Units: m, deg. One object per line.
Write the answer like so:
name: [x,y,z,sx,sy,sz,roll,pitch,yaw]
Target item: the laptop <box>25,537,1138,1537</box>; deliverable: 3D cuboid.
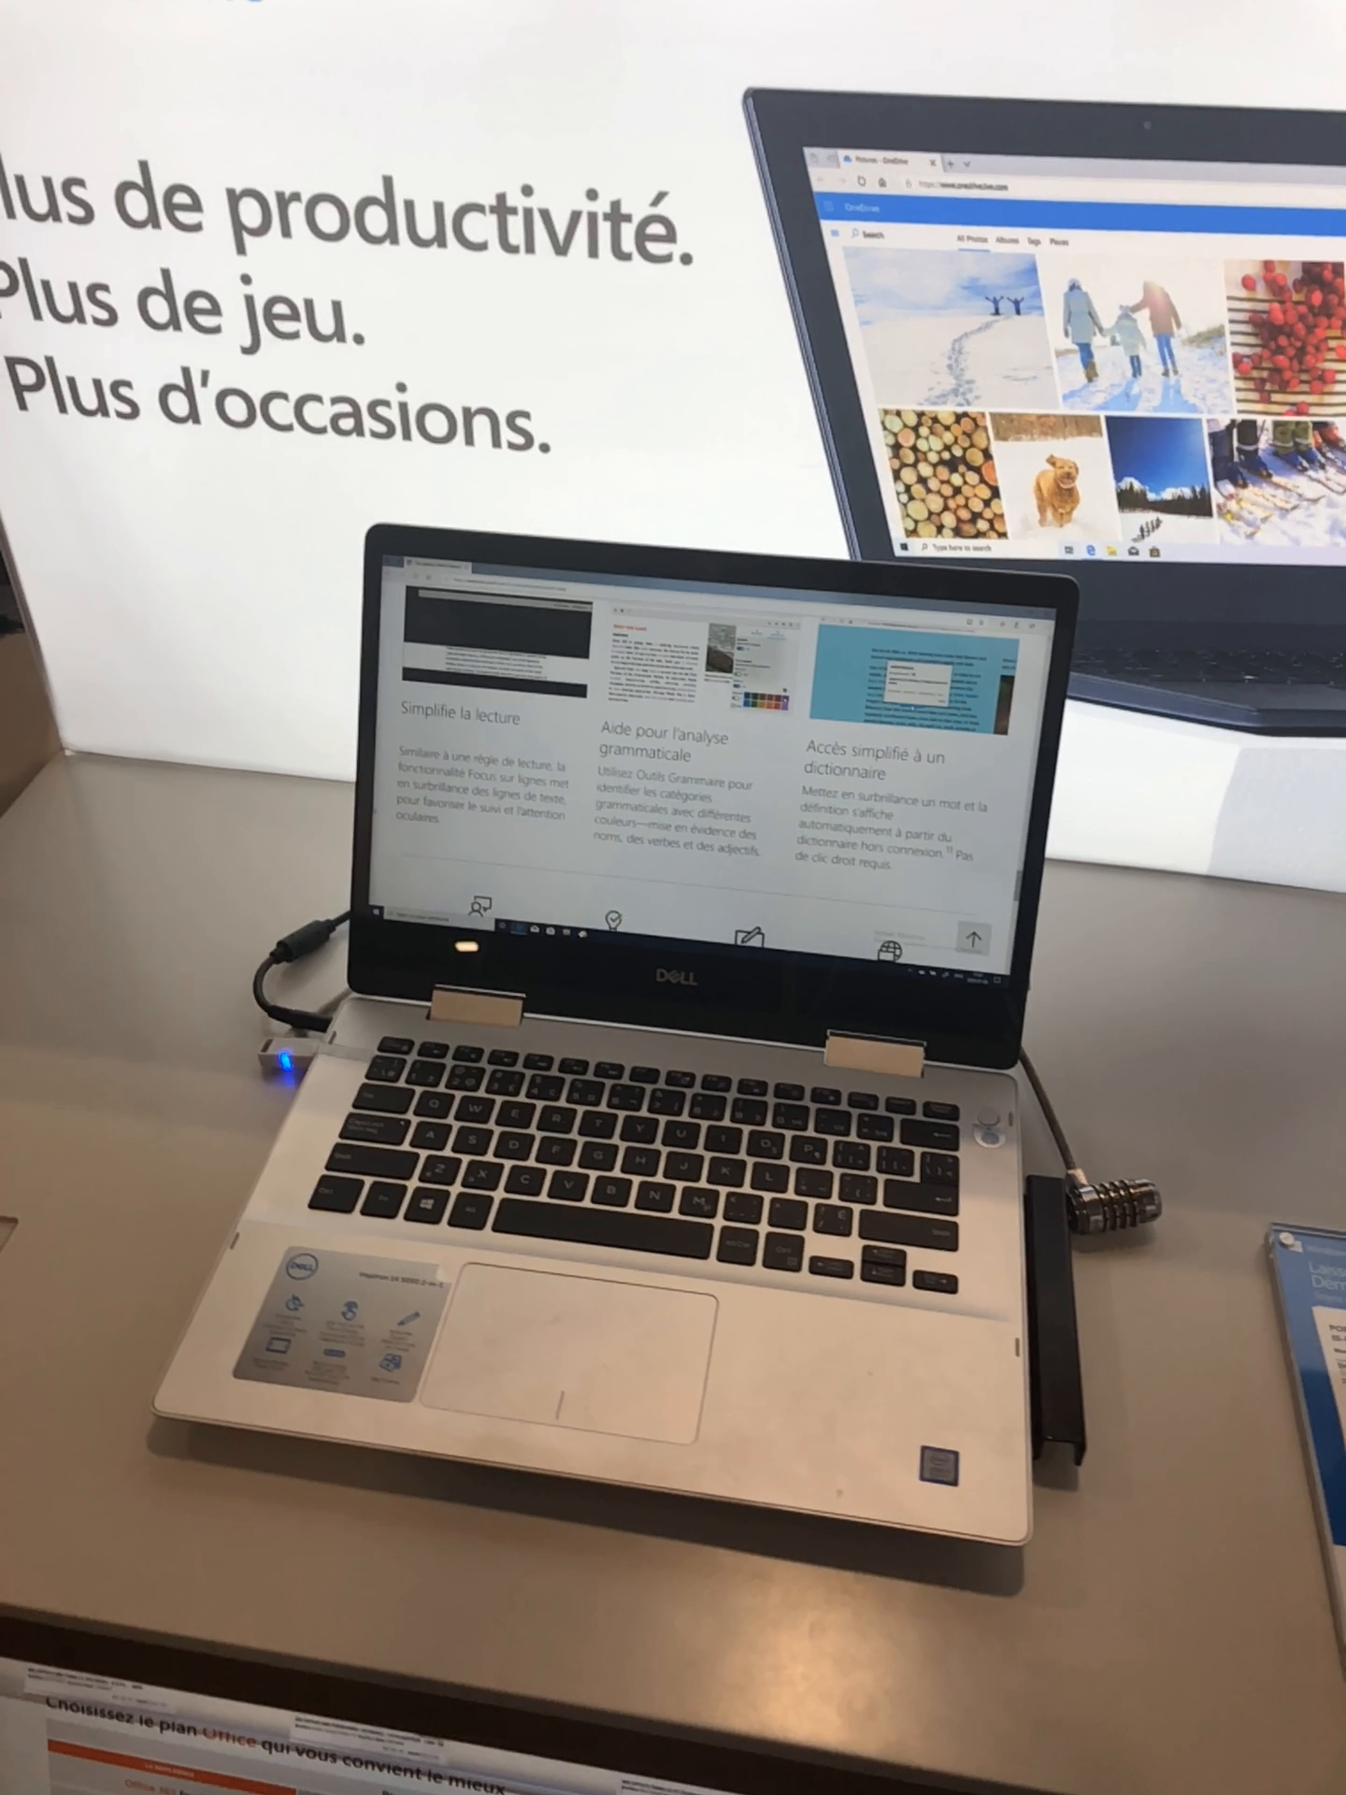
laptop: [-0.007,0.027,0.602,0.316,0.193,0.338,6,39,7]
